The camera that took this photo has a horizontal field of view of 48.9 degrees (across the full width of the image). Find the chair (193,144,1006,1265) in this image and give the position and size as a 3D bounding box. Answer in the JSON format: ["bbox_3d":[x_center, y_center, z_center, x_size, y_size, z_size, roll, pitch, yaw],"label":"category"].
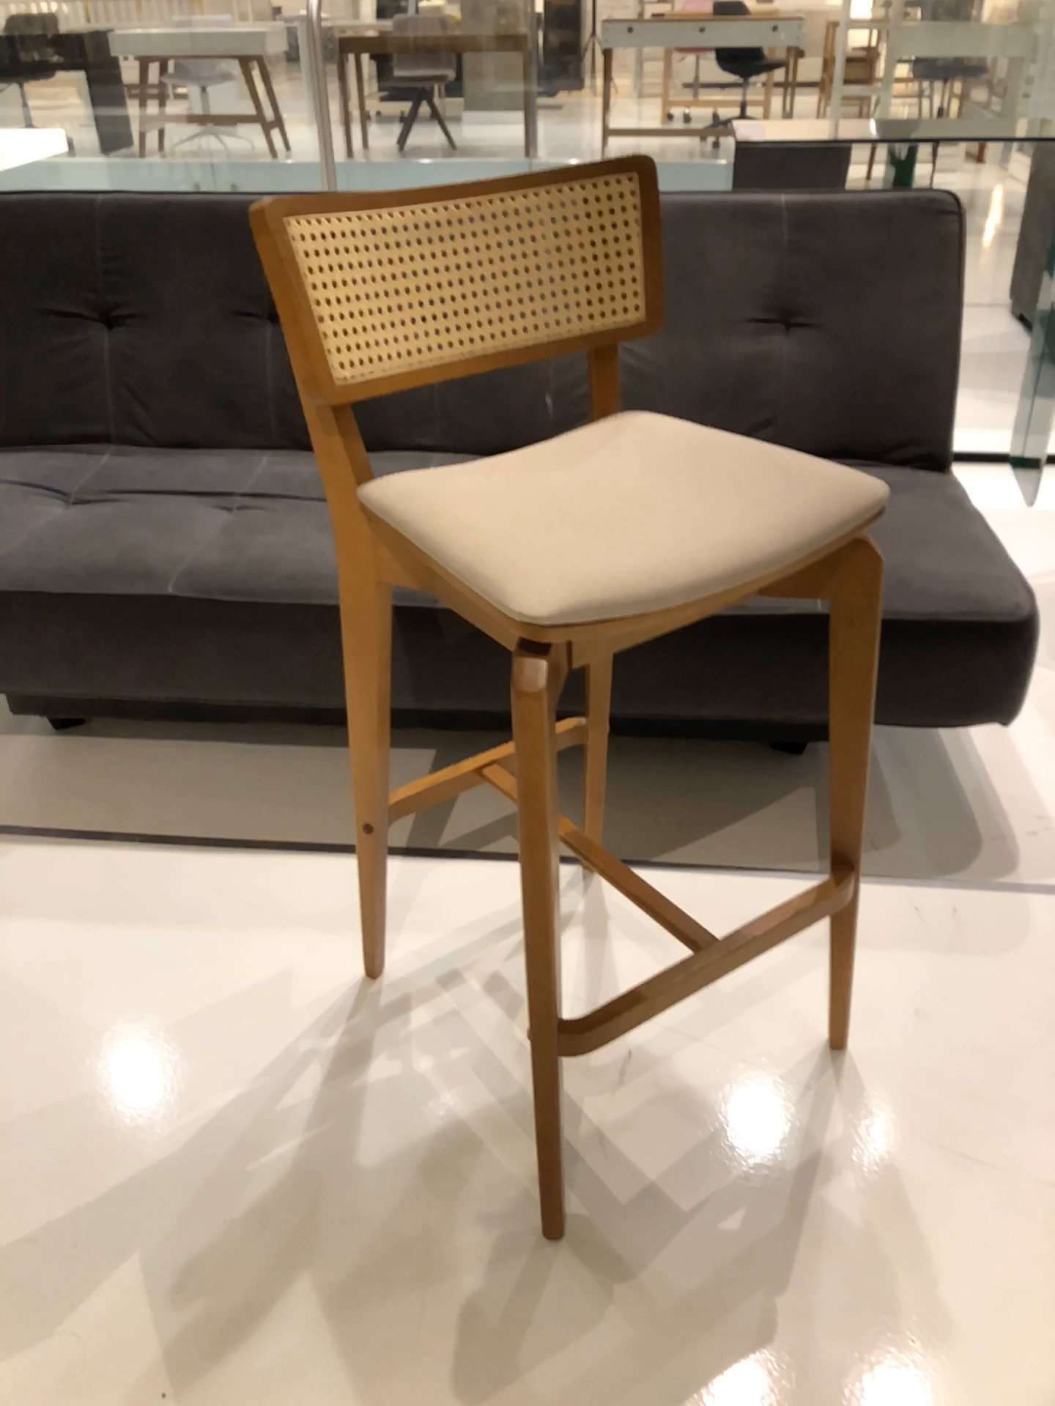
[{"bbox_3d":[0.046,-0.024,1.235,0.471,0.962,0.523,-21,36,-29],"label":"chair"}]
